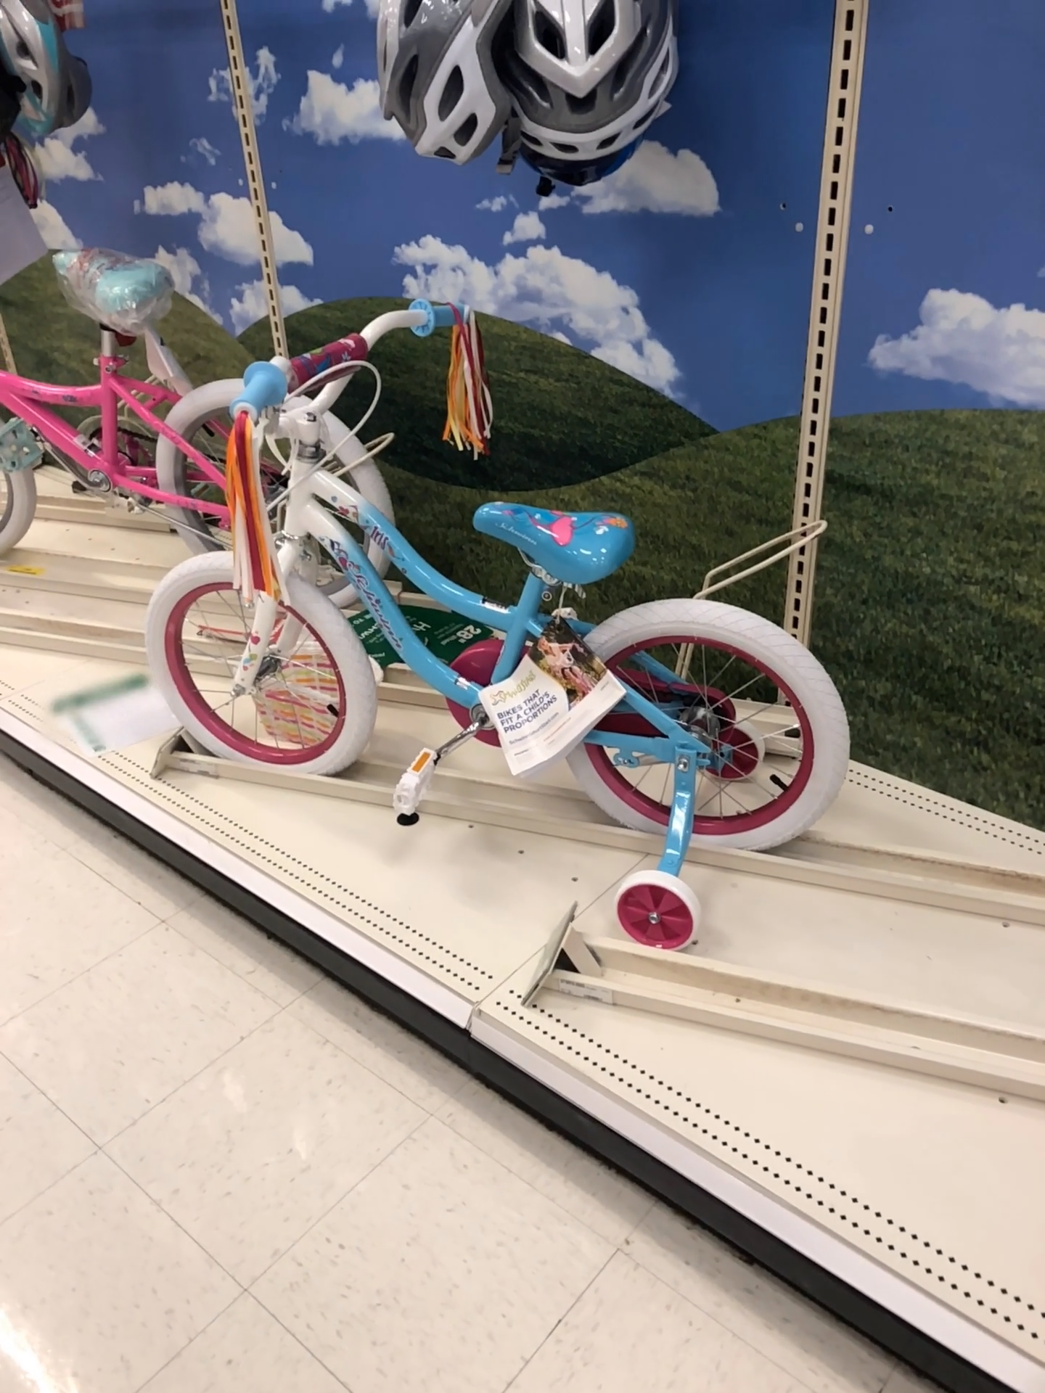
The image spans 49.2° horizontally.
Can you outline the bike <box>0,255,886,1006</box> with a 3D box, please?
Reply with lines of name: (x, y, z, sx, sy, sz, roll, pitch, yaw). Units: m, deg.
bike: (-0.091, -0.159, 1.616, 1.090, 0.723, 0.535, 10, 33, 17)
